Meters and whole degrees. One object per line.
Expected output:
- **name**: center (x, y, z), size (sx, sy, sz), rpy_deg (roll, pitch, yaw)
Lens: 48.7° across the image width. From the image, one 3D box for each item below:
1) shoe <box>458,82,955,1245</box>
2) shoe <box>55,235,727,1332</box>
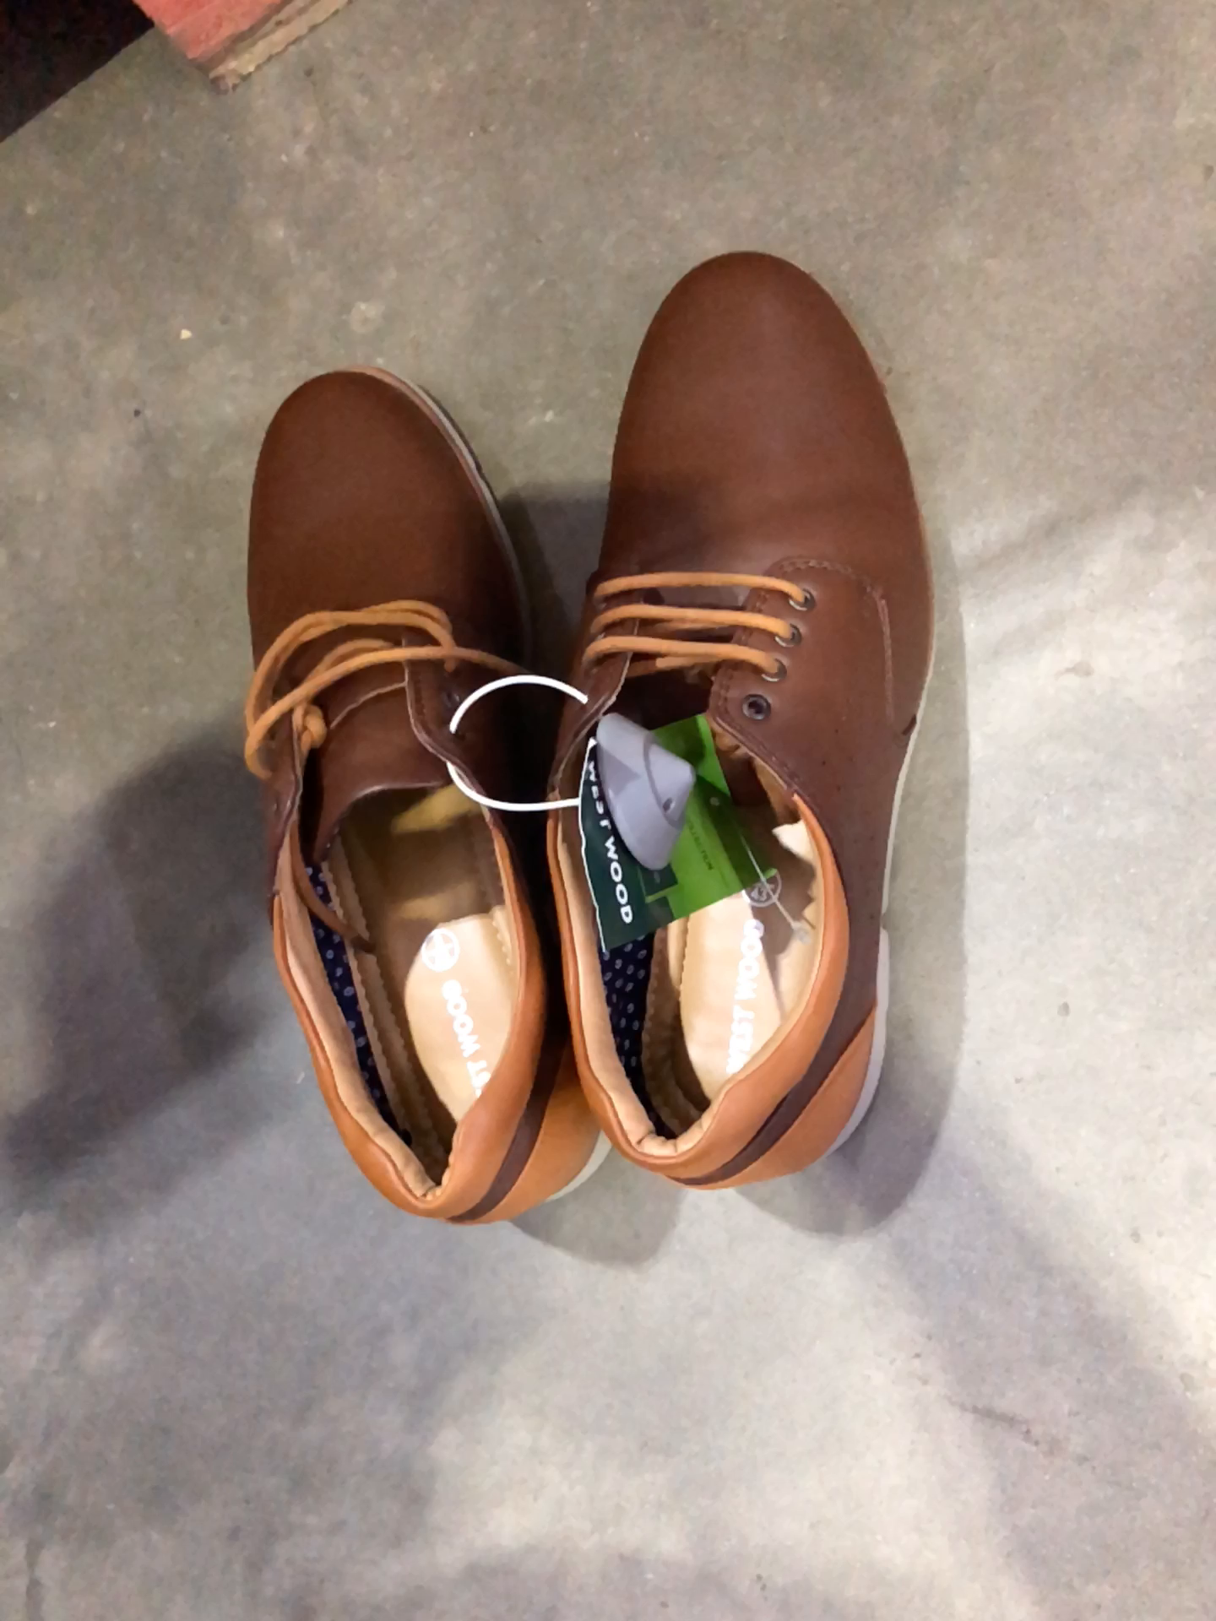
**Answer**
- **shoe**: center (0.043, -0.039, 0.431), size (0.120, 0.130, 0.310), rpy_deg (1, 83, 17)
- **shoe**: center (-0.064, -0.006, 0.421), size (0.110, 0.120, 0.280), rpy_deg (-17, 78, 15)
